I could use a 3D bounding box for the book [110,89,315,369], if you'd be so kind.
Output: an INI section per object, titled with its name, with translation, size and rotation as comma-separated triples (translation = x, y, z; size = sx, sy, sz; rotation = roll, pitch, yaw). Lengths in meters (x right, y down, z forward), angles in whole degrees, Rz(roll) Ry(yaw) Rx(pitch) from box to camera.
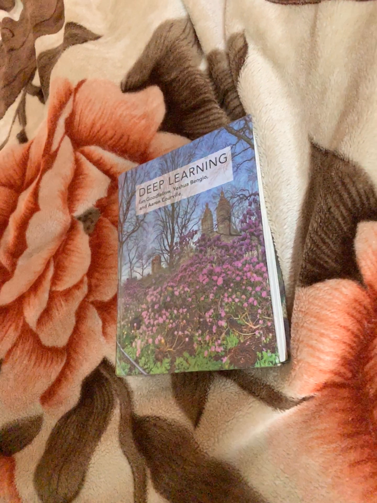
[book]
translation = 0.007, -0.015, 0.417
size = 0.211, 0.030, 0.261
rotation = -15, 67, 31
